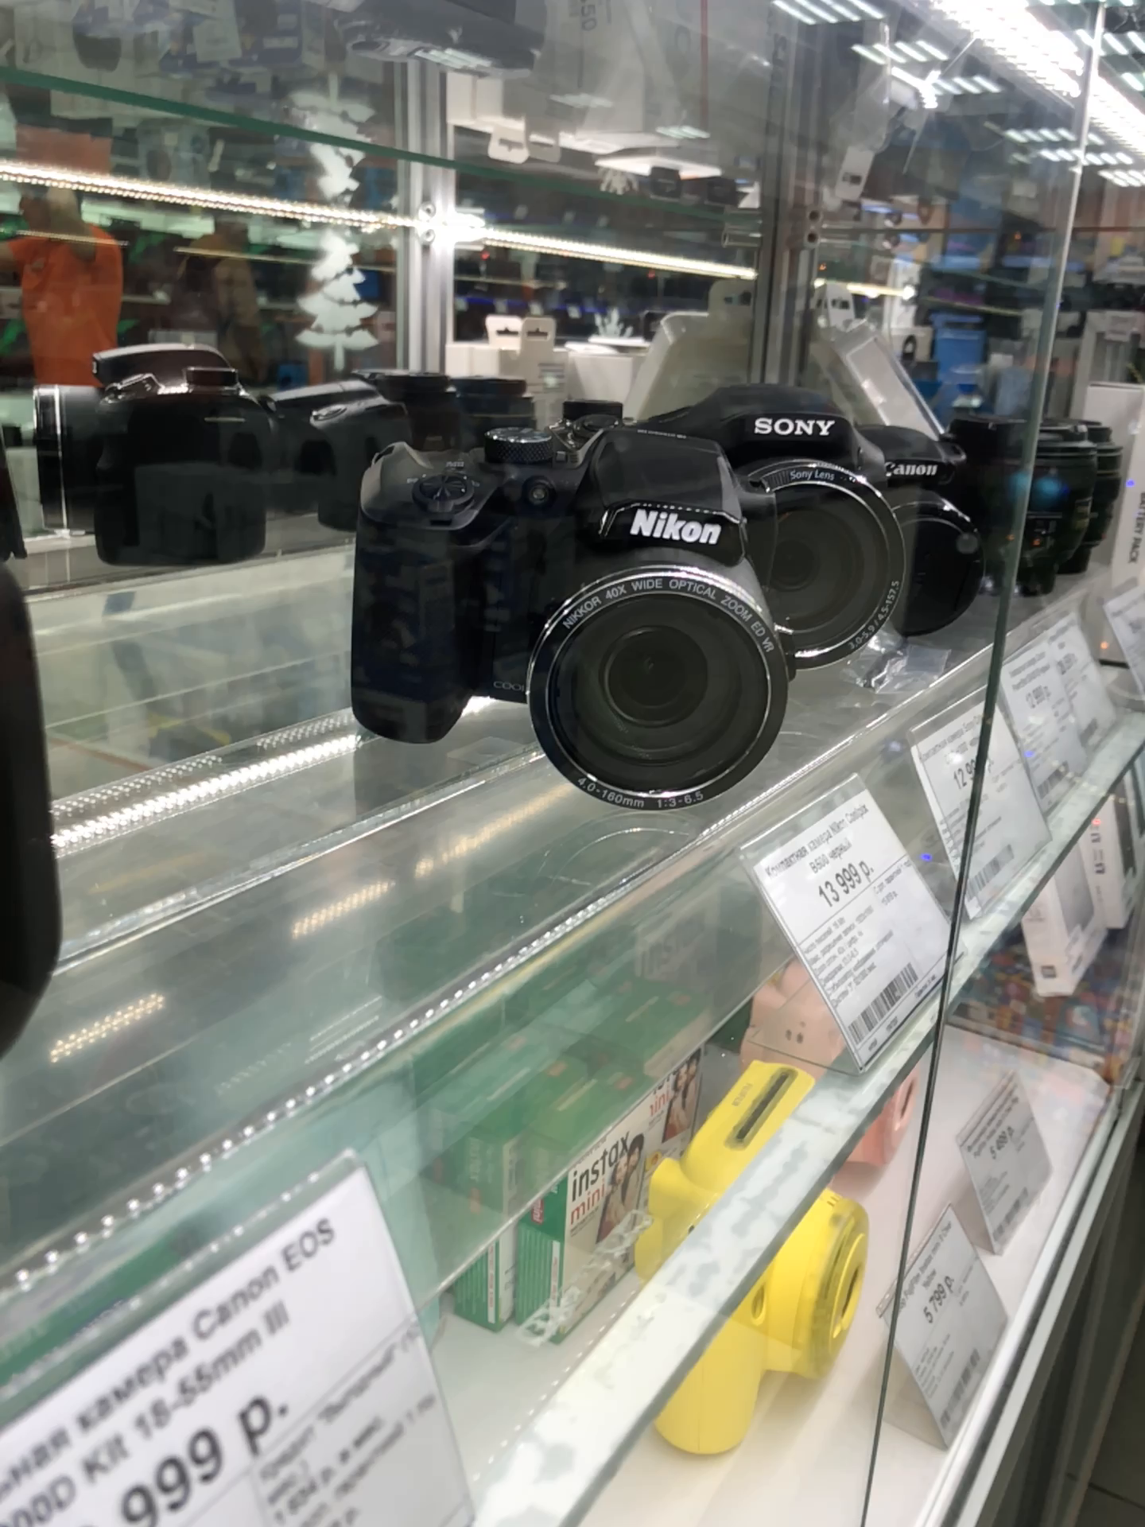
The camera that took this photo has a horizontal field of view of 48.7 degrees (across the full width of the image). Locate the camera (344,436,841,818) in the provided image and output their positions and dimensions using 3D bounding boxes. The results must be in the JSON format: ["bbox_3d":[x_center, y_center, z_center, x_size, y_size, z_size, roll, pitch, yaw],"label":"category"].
[{"bbox_3d":[-0.003,-0.040,0.334,0.110,0.080,0.098,1,17,-9],"label":"camera"}]

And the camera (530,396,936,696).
[{"bbox_3d":[0.047,-0.079,0.438,0.114,0.084,0.099,-1,20,-7],"label":"camera"}]
